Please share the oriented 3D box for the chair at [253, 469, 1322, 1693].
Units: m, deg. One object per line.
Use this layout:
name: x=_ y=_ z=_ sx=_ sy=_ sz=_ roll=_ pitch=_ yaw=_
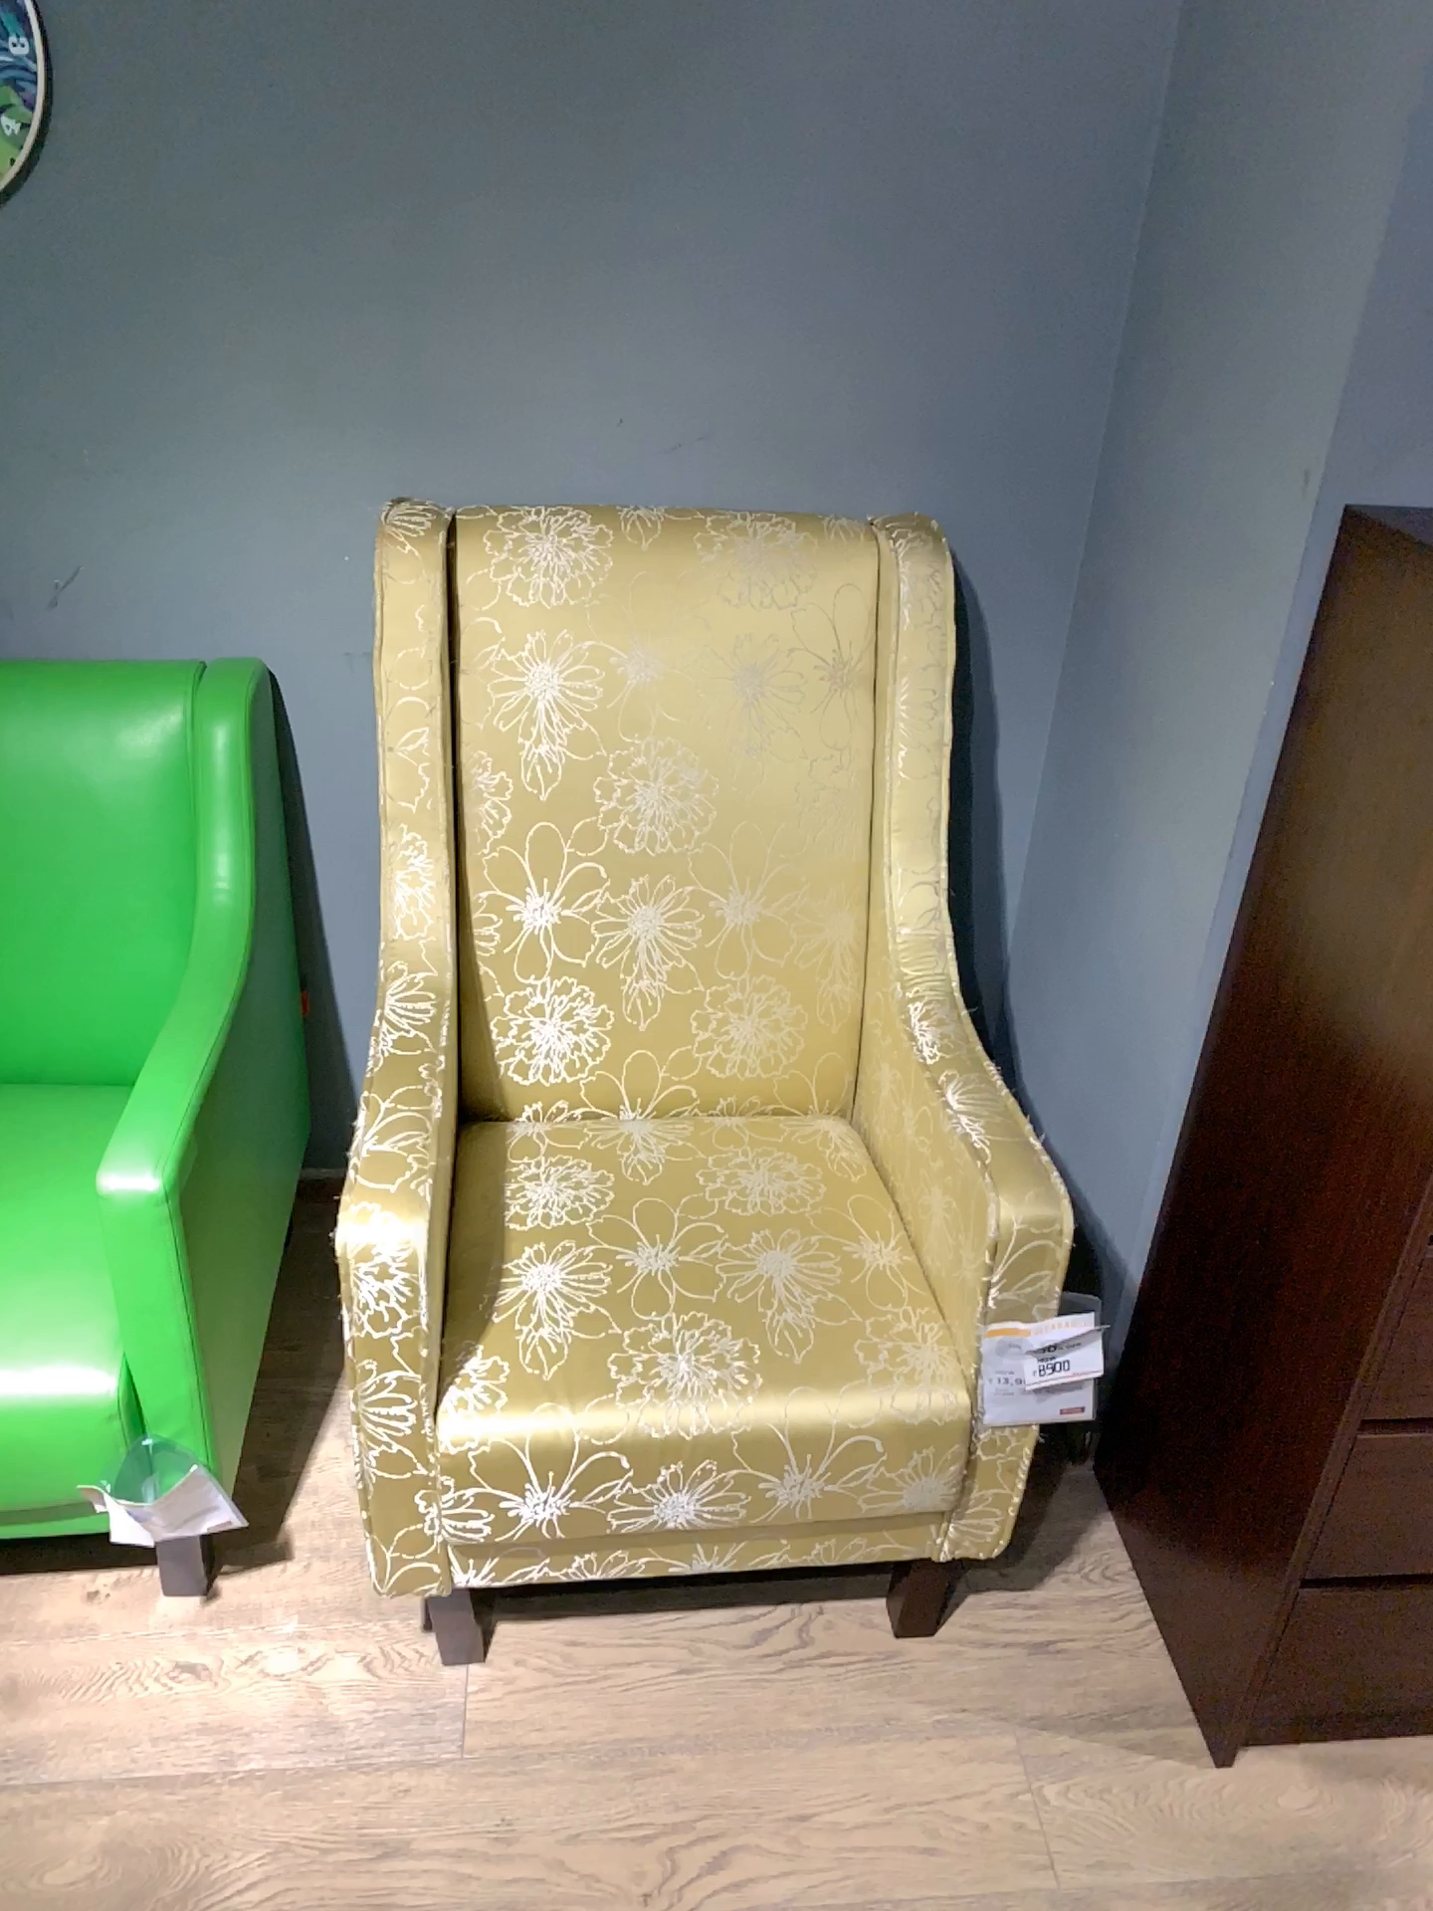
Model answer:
chair: x=-0.016 y=0.071 z=1.706 sx=0.780 sy=1.026 sz=0.954 roll=0 pitch=29 yaw=-7
